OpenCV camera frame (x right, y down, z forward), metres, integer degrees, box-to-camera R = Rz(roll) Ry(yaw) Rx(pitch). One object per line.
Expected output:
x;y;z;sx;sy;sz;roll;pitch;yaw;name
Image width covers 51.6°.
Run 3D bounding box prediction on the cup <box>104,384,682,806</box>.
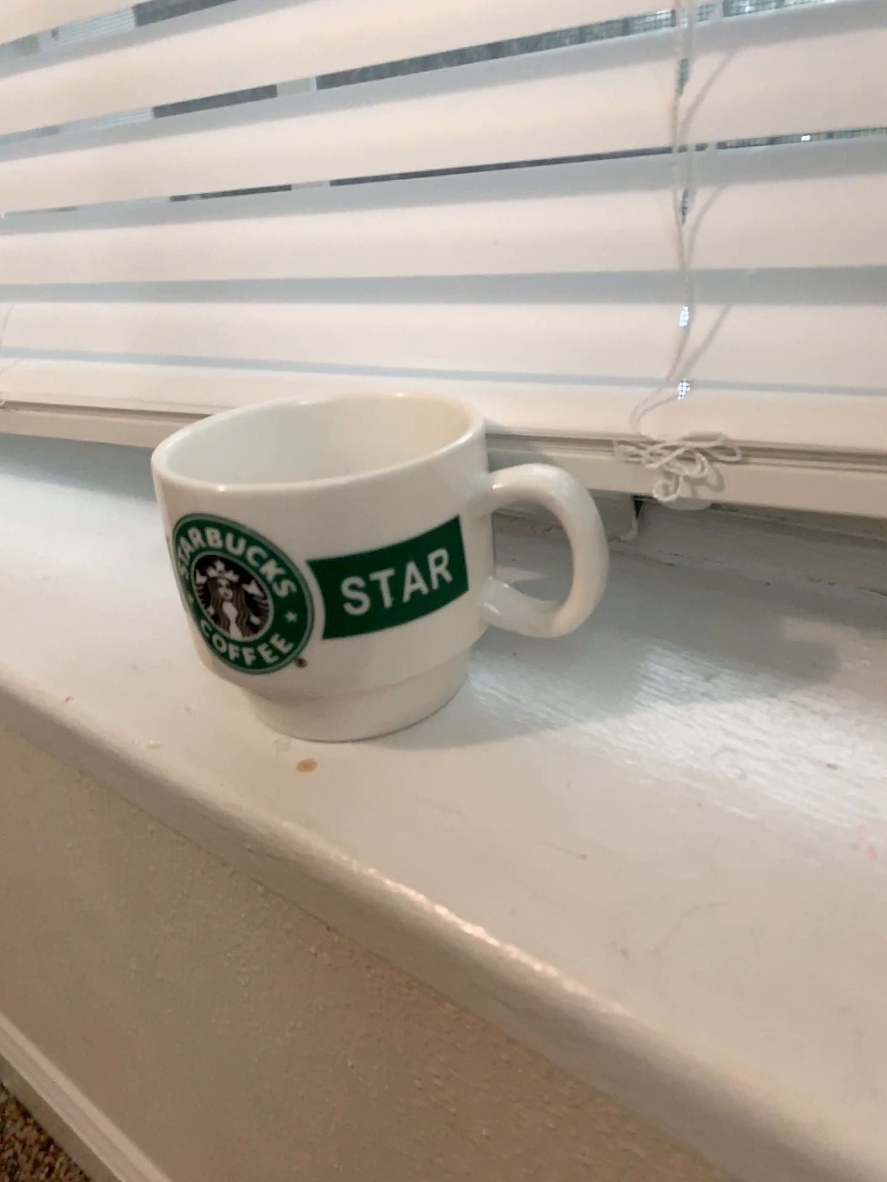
-0.004;-0.007;0.201;0.100;0.060;0.070;5;27;21;cup
